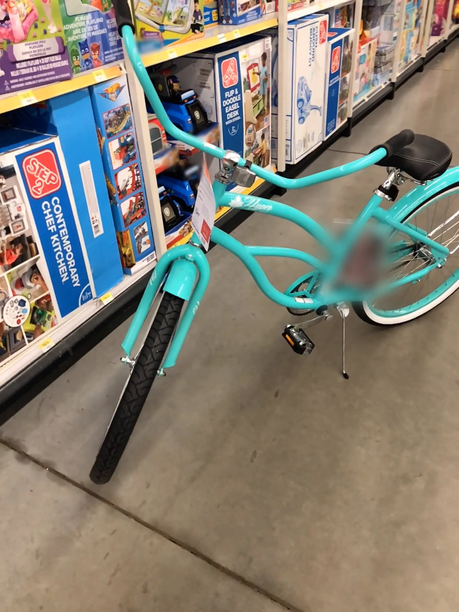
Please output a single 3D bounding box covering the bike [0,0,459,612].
[{"bbox_3d":[0.283,-0.107,1.354,1.494,1.143,0.761,-27,42,-24],"label":"bike"}]
